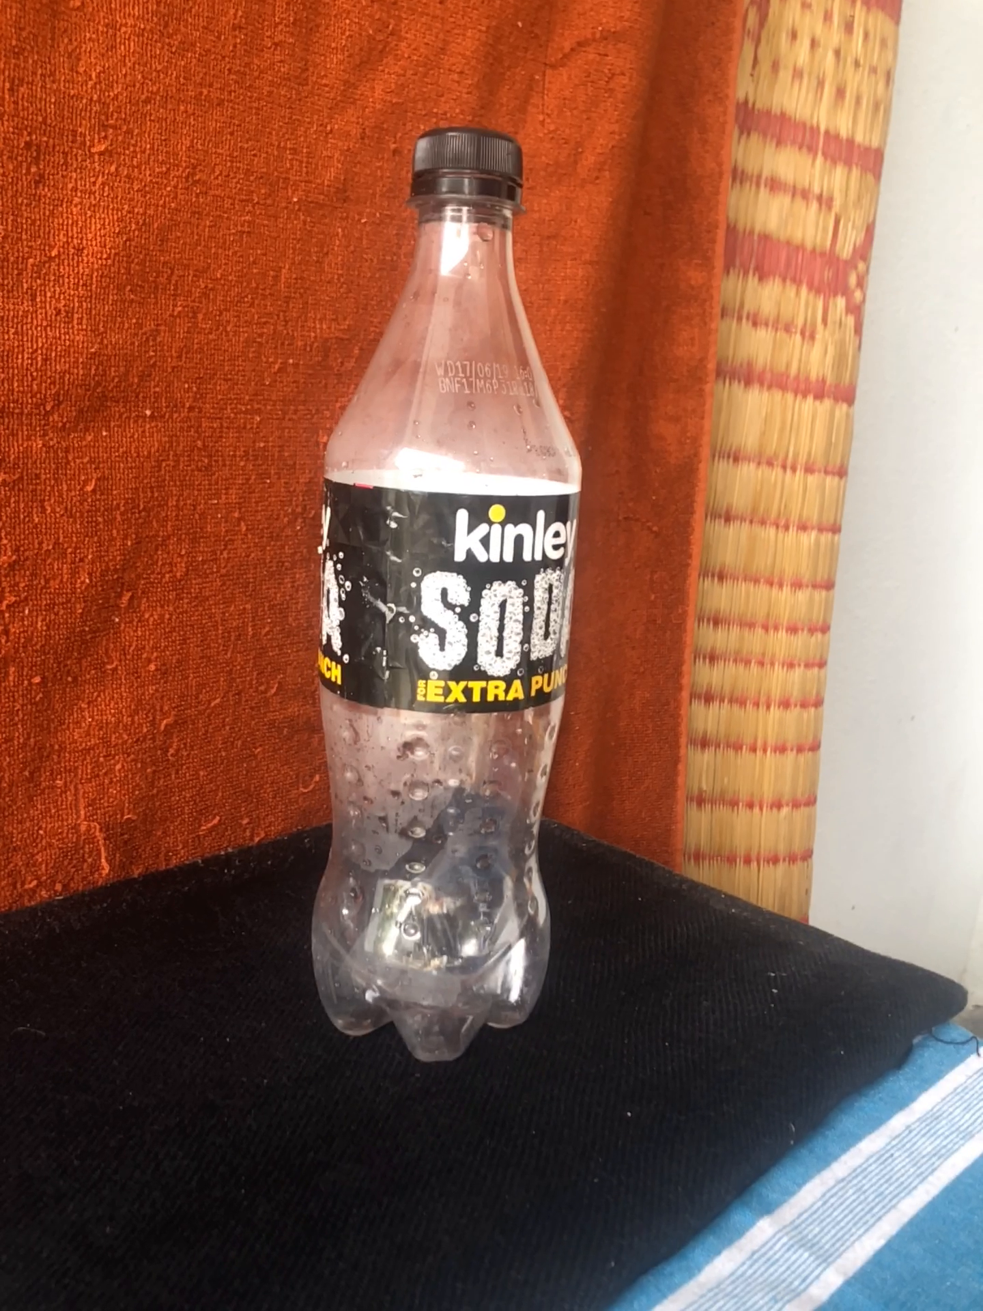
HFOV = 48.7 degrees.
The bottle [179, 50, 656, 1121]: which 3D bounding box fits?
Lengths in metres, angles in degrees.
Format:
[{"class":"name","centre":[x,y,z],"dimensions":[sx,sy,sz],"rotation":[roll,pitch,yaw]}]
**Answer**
[{"class":"bottle","centre":[-0.026,-0.015,0.314],"dimensions":[0.090,0.259,0.070],"rotation":[-5,17,-42]}]
